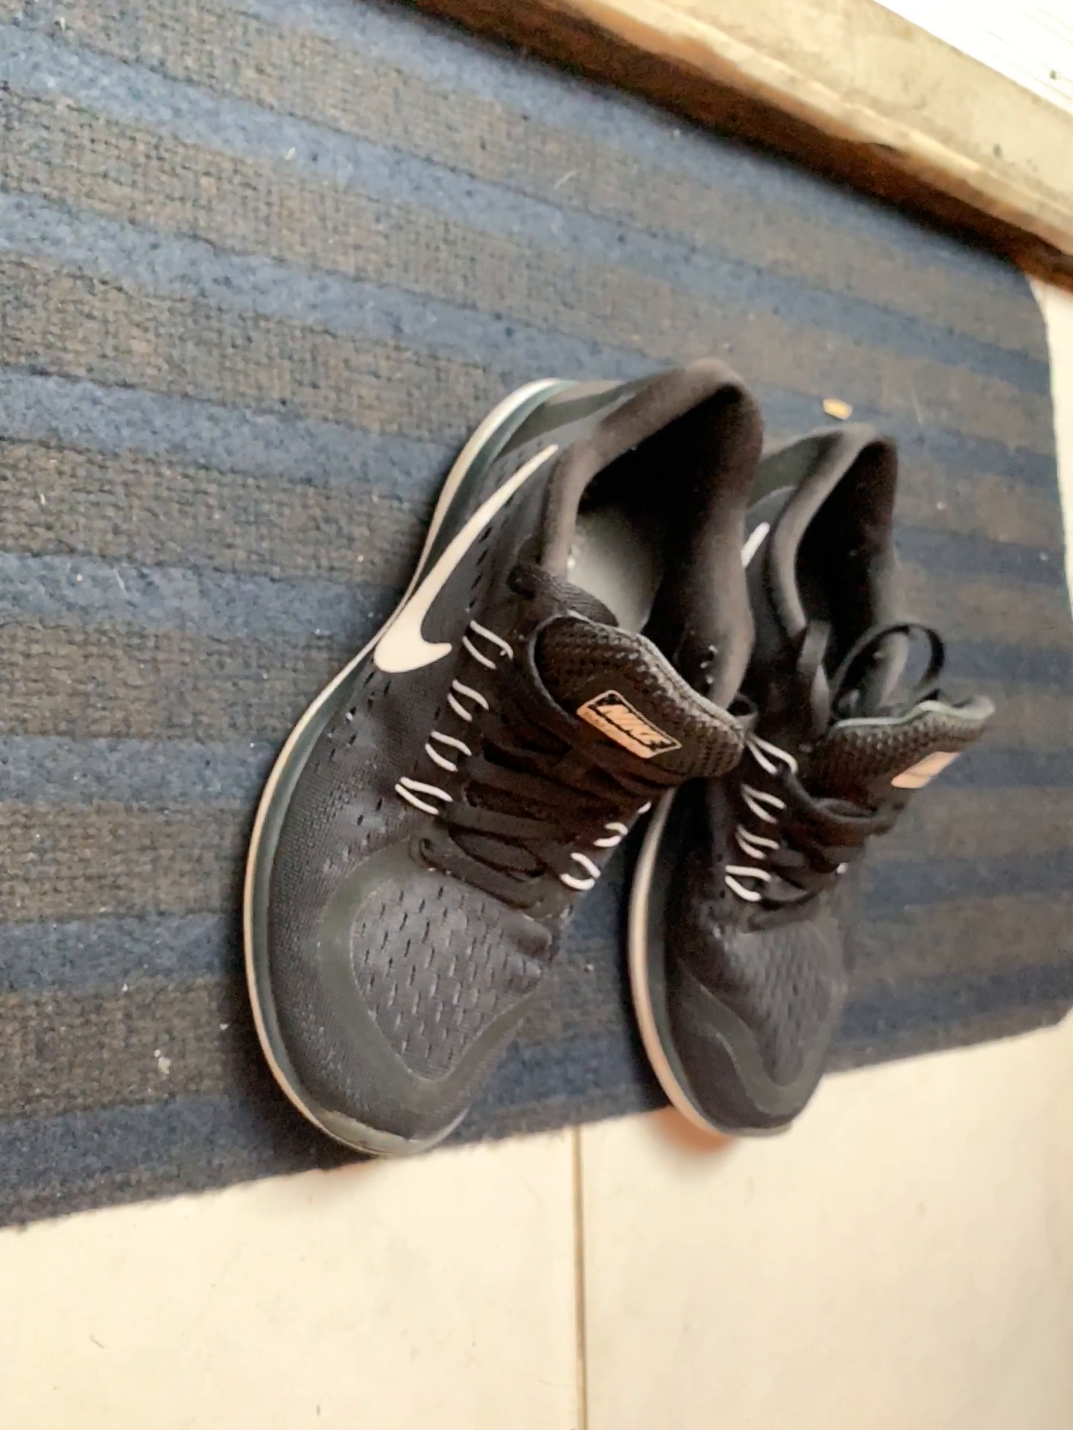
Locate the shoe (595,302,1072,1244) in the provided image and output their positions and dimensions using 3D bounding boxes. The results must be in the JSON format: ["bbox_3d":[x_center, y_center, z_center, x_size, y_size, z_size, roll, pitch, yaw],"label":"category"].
[{"bbox_3d":[0.098,0.019,0.371,0.107,0.118,0.248,6,80,-32],"label":"shoe"}]

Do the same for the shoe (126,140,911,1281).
[{"bbox_3d":[0.000,-0.002,0.310,0.105,0.118,0.248,27,70,-27],"label":"shoe"}]
